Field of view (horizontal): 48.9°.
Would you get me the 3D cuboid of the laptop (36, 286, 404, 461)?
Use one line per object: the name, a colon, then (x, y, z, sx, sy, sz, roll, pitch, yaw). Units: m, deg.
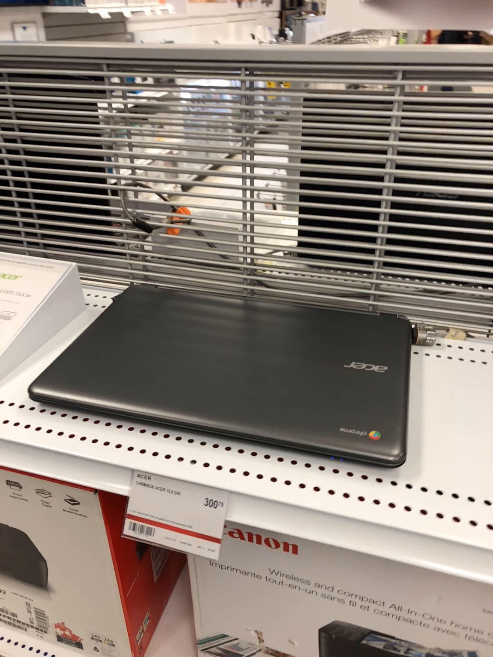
laptop: (-0.015, 0.027, 0.608, 0.367, 0.001, 0.238, 8, 32, 16)
